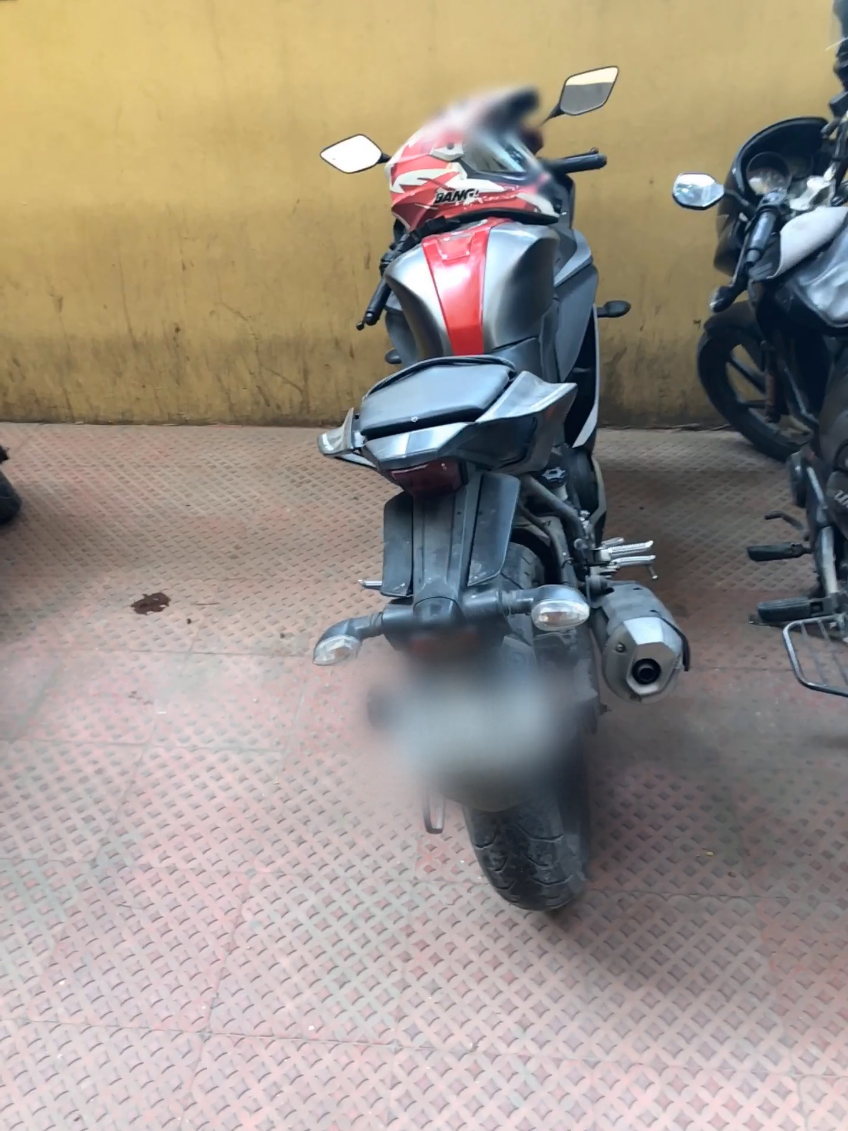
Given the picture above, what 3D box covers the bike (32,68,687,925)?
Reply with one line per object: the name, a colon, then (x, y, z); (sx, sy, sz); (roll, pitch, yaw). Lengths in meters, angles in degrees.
bike: (-0.113, -0.350, 1.949); (0.725, 0.870, 1.755); (-3, 38, 0)
